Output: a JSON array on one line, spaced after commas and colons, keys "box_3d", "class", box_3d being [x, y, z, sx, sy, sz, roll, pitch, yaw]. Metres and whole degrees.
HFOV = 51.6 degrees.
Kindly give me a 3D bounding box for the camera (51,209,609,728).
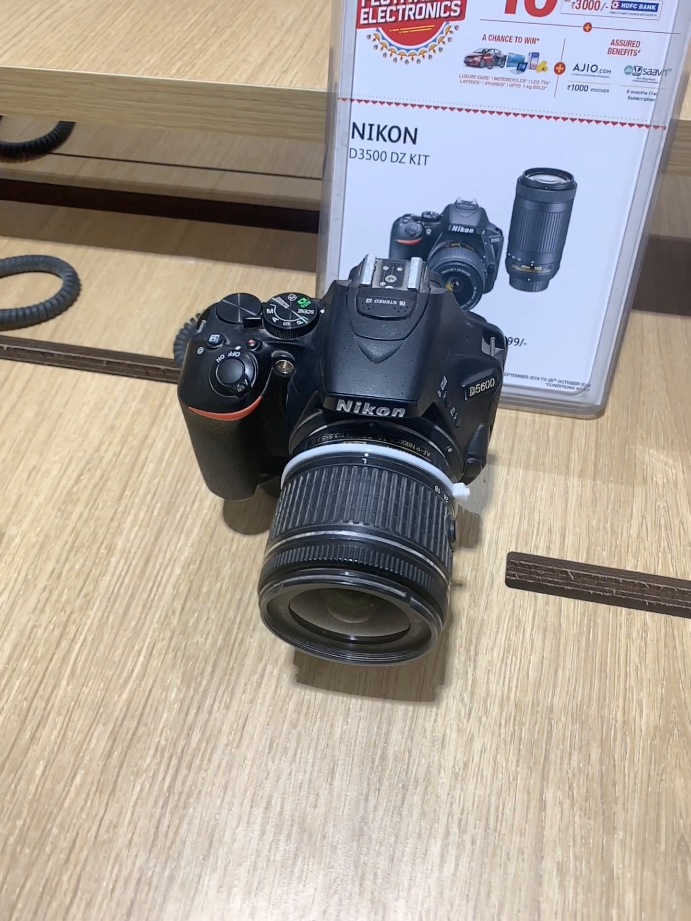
[{"box_3d": [0.006, 0.001, 0.238, 0.130, 0.100, 0.120, 8, 53, 8], "class": "camera"}]
